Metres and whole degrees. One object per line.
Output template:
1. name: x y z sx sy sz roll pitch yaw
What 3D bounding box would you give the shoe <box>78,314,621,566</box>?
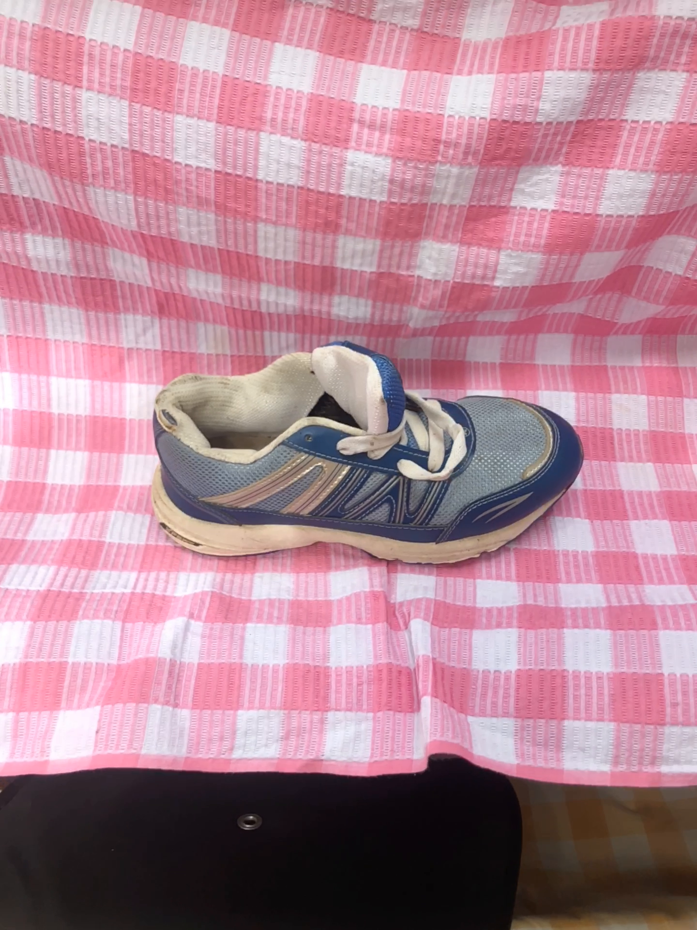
1. shoe: 0.002 -0.015 0.472 0.280 0.100 0.111 -1 44 2
